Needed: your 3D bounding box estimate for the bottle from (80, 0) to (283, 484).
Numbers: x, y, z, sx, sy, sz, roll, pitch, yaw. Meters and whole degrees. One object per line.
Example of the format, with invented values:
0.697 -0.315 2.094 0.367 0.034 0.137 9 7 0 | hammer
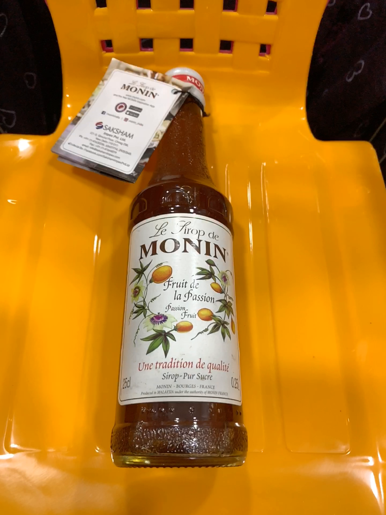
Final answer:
-0.004 -0.022 0.190 0.060 0.060 0.220 1 67 -2 | bottle
